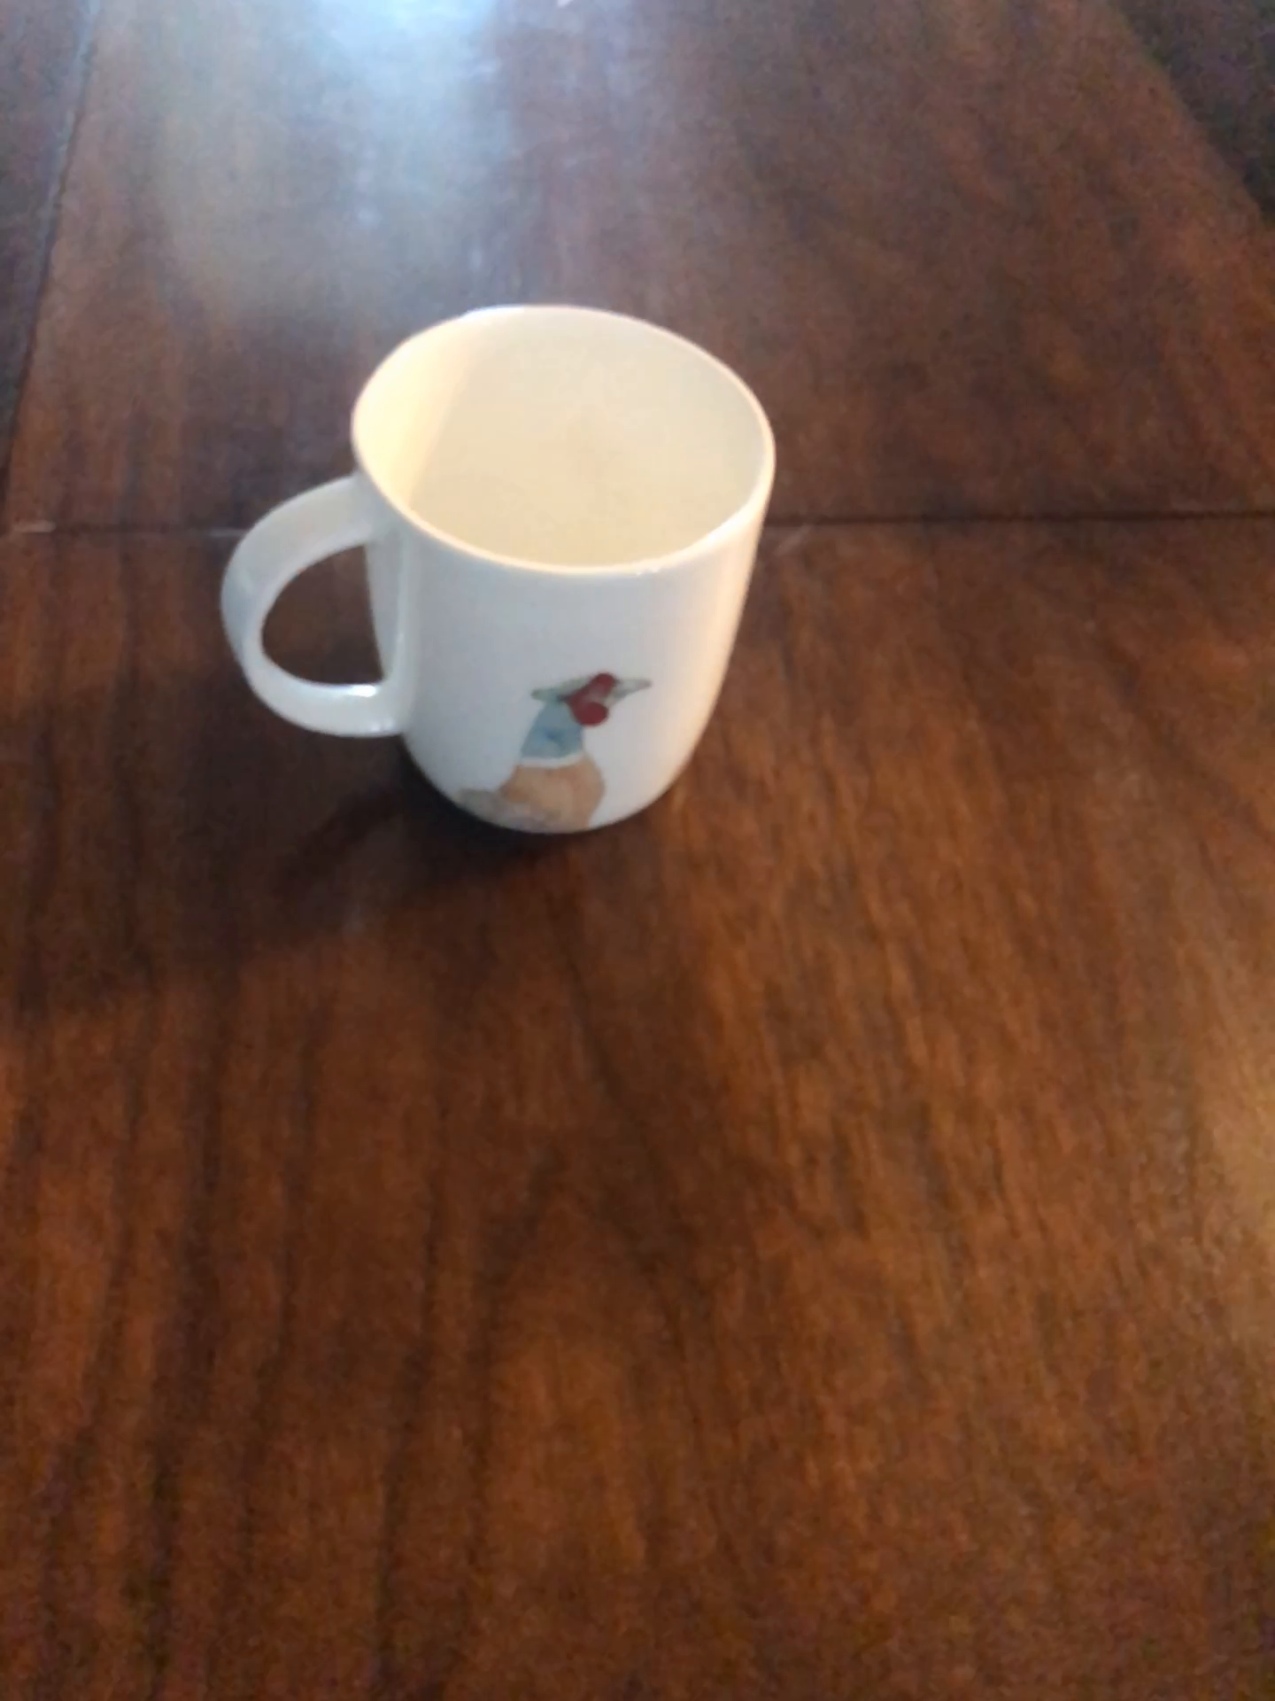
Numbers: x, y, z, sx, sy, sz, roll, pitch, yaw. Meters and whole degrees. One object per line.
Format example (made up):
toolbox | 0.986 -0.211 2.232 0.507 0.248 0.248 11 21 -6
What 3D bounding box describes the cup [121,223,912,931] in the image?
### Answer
cup | -0.028 -0.063 0.318 0.130 0.090 0.090 -19 57 -20
